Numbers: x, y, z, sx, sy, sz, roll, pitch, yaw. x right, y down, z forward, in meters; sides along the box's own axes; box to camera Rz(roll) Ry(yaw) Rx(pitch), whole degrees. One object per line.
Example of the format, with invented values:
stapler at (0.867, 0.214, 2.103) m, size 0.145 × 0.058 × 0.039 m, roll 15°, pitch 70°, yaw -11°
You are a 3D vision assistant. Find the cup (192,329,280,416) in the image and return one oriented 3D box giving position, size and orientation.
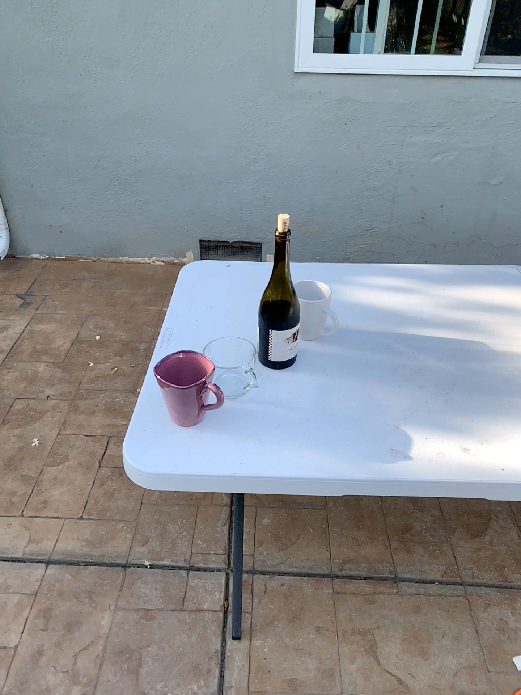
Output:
cup at (-0.046, 0.044, 1.002) m, size 0.131 × 0.080 × 0.100 m, roll 30°, pitch 44°, yaw 35°

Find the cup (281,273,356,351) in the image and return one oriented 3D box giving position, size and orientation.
cup at (0.120, -0.077, 1.121) m, size 0.120 × 0.099 × 0.090 m, roll 30°, pitch 44°, yaw 35°

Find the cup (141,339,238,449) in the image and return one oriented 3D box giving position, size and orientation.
cup at (-0.121, 0.077, 0.924) m, size 0.131 × 0.109 × 0.100 m, roll 30°, pitch 44°, yaw 35°
